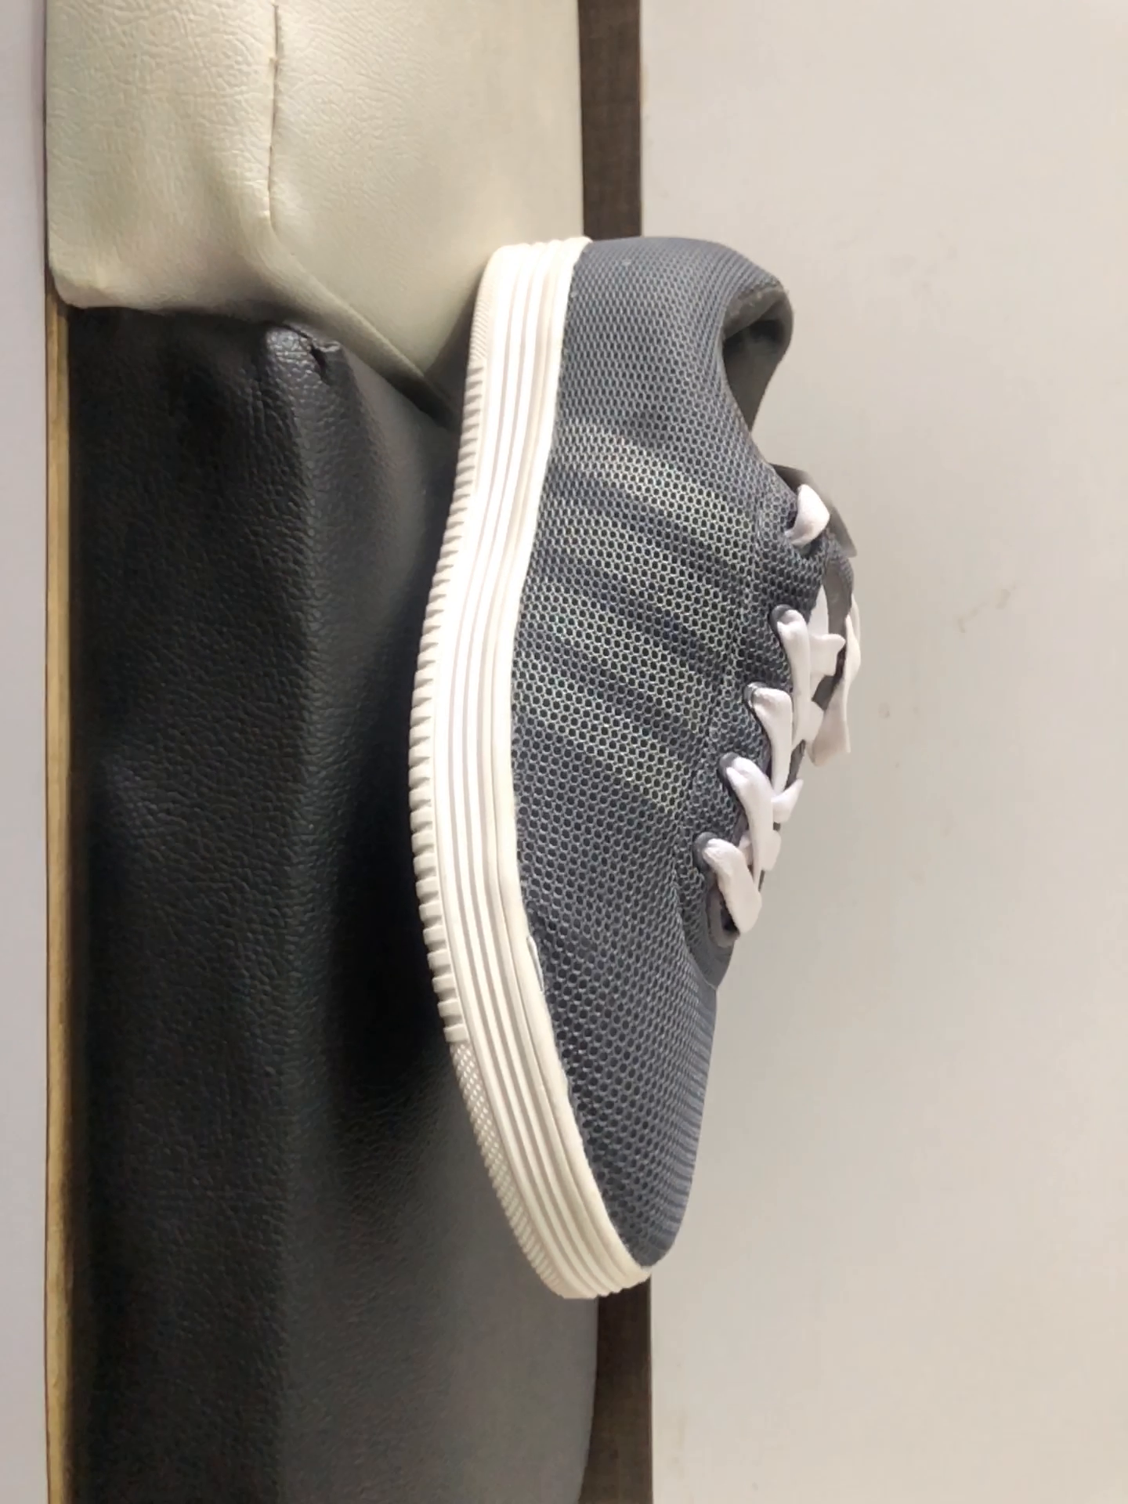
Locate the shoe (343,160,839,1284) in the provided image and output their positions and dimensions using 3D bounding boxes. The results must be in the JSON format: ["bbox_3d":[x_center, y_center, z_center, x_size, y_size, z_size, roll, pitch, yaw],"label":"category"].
[{"bbox_3d":[0.024,-0.017,0.357,0.100,0.100,0.300,69,23,-62],"label":"shoe"}]
